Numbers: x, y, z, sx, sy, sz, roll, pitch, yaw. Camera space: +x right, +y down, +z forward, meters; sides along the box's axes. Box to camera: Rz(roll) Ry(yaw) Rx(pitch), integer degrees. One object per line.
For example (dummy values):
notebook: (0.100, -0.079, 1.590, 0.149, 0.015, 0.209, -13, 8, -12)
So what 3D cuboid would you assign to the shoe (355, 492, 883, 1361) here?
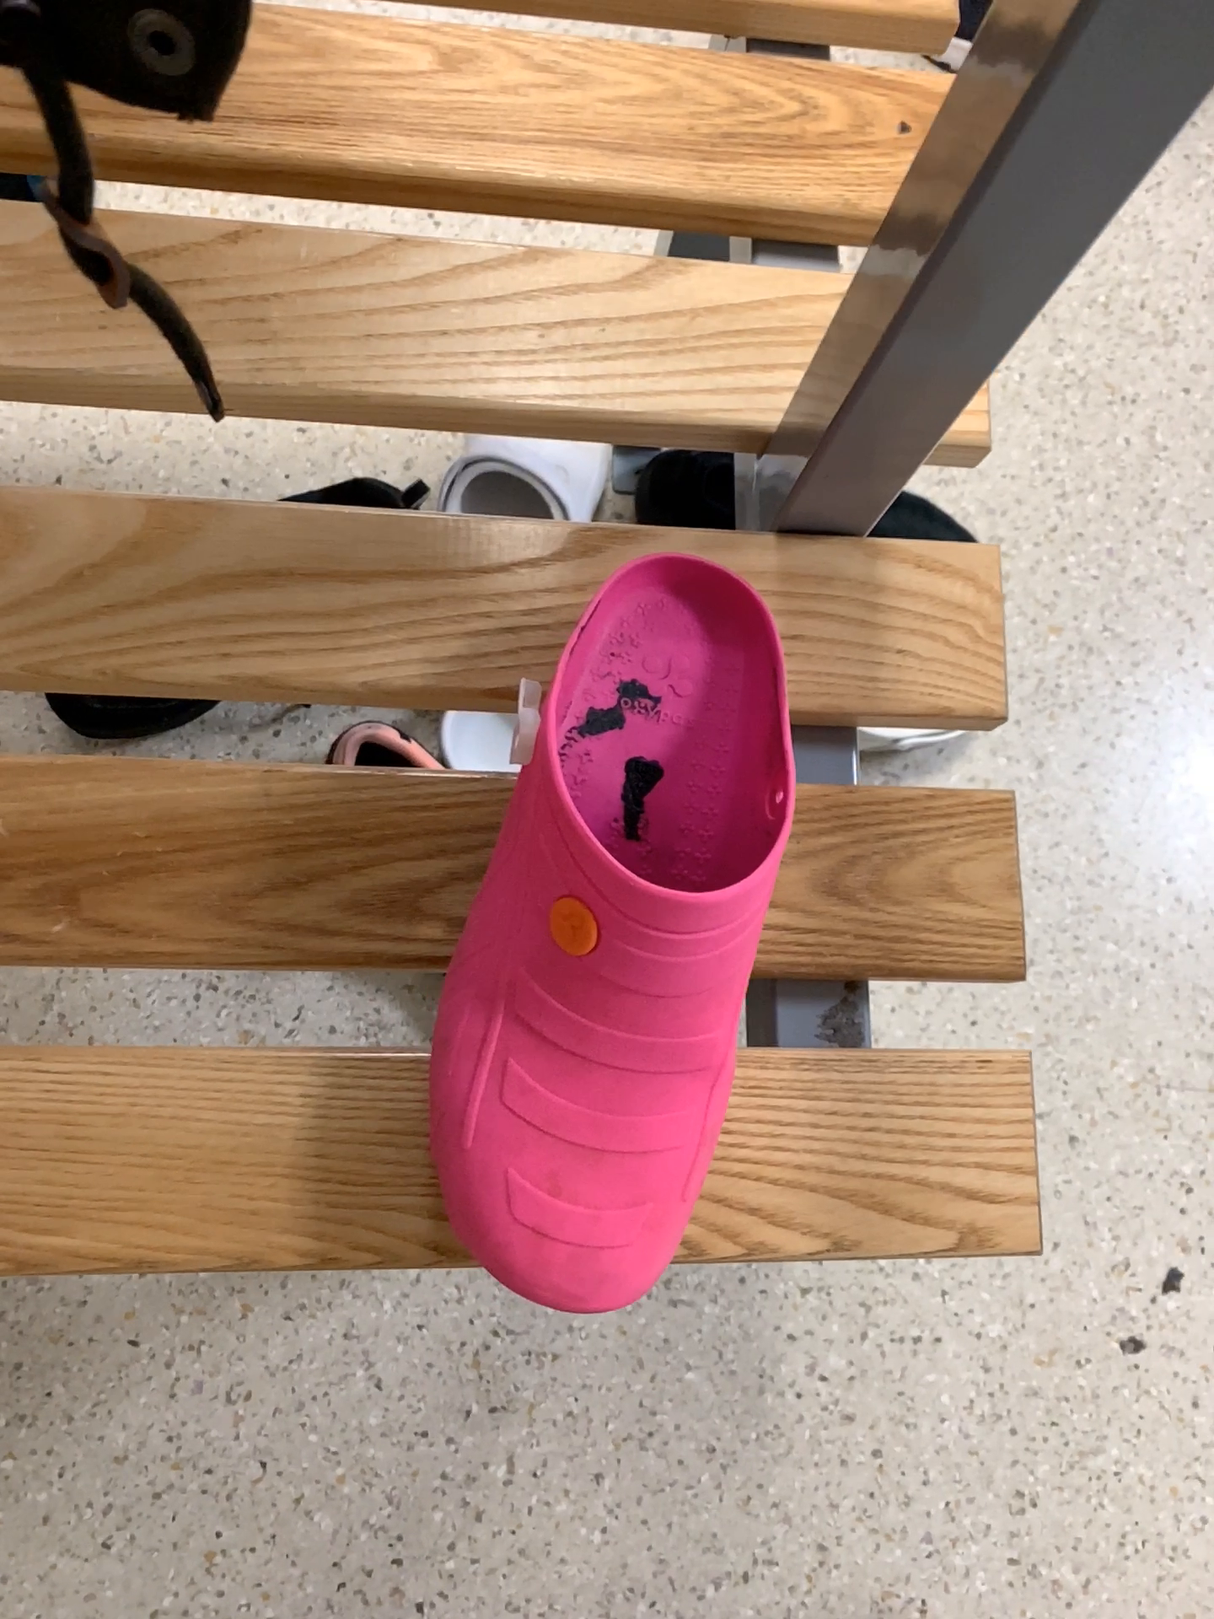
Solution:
shoe: (0.005, 0.031, 0.372, 0.096, 0.068, 0.221, 15, 77, -3)
